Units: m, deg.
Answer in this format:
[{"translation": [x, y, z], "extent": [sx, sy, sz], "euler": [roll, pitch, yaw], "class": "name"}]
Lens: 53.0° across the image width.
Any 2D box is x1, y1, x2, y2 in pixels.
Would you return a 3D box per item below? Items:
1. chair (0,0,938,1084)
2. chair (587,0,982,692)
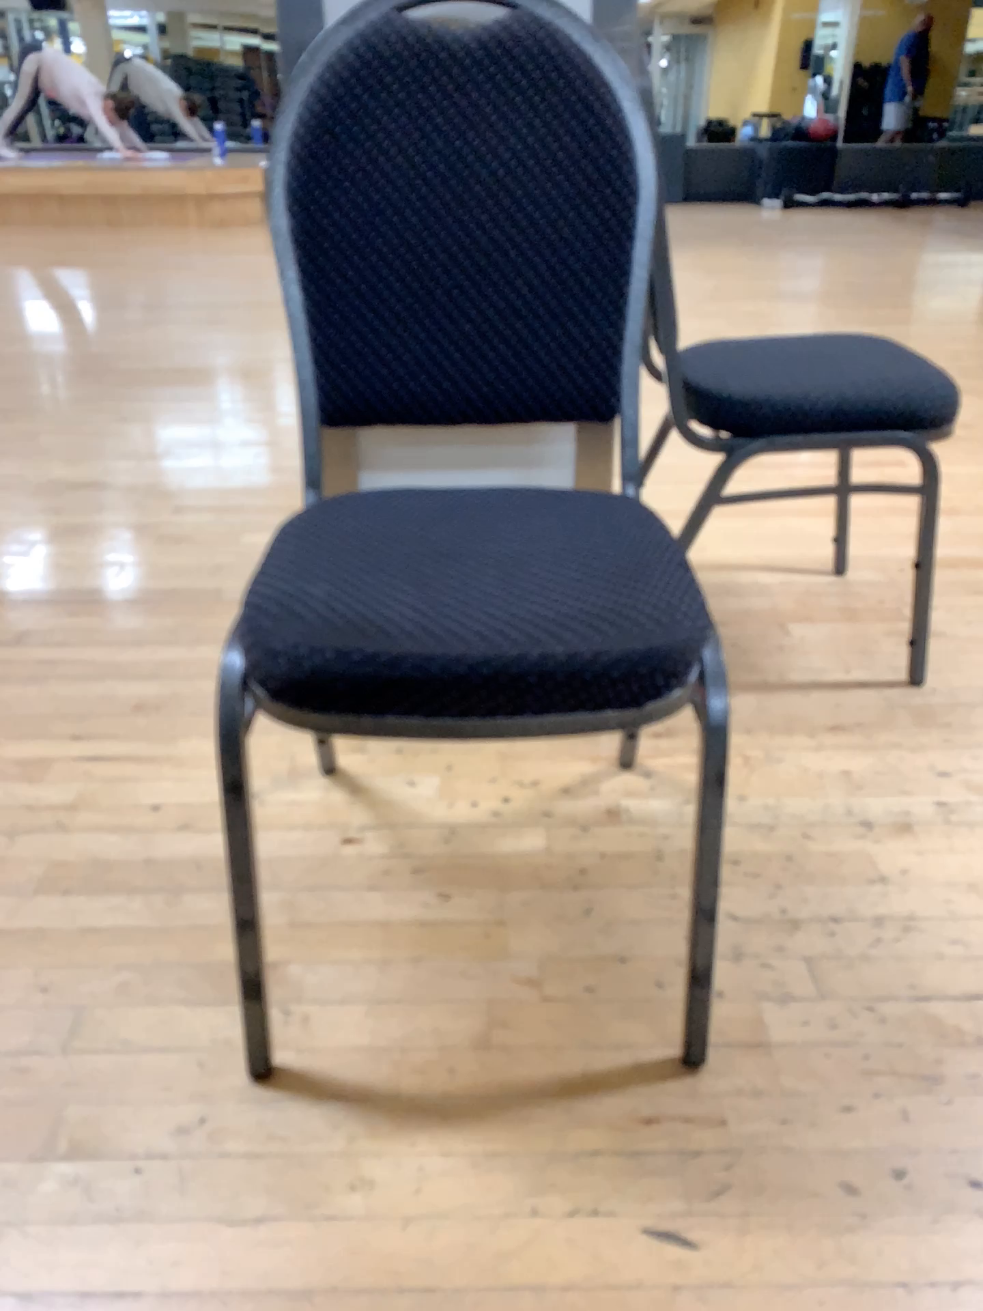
[{"translation": [-0.011, -0.138, 0.944], "extent": [0.461, 0.921, 0.556], "euler": [0, 29, 0], "class": "chair"}, {"translation": [0.454, -0.465, 1.500], "extent": [0.553, 0.921, 0.464], "euler": [1, 29, 2], "class": "chair"}]
